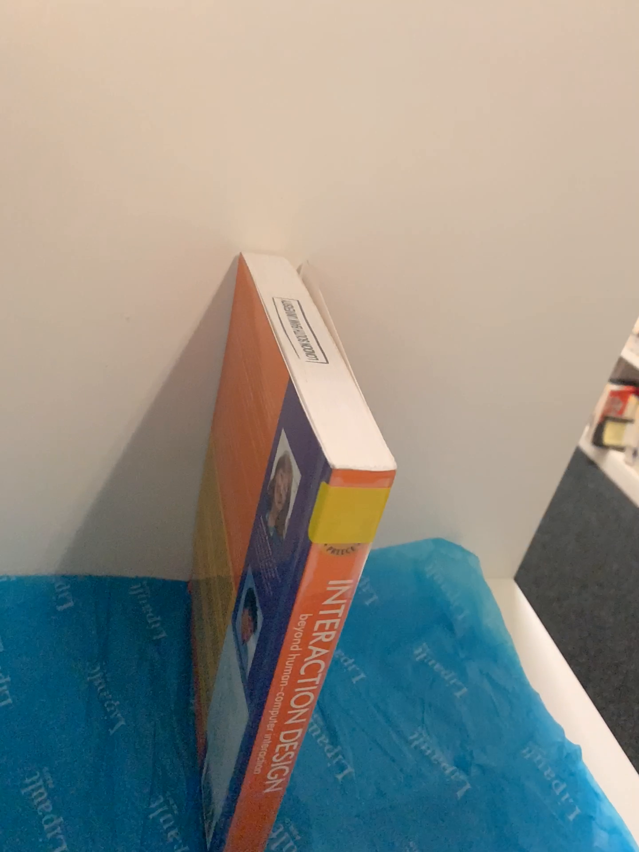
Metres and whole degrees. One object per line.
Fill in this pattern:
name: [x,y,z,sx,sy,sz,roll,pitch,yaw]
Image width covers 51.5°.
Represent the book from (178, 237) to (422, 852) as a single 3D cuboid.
book: [-0.035,0.059,0.335,0.030,0.247,0.196,4,31,-19]
